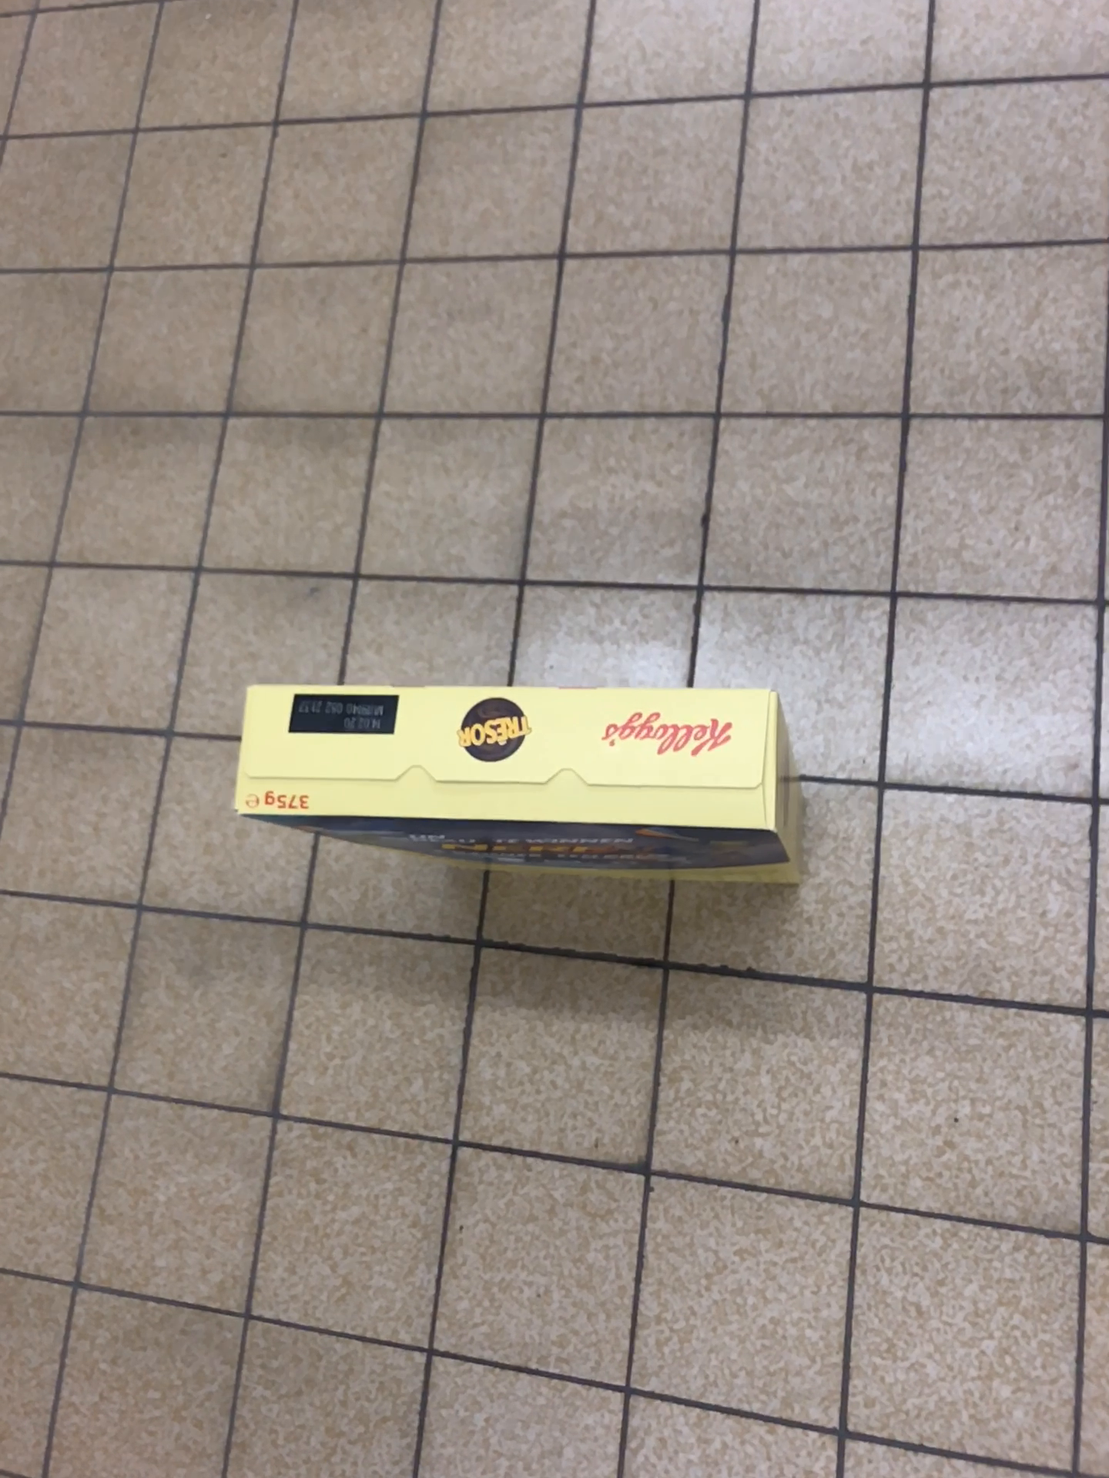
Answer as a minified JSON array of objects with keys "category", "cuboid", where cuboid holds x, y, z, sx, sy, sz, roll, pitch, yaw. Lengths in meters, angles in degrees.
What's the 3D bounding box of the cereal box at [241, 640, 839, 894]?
[{"category":"cereal box","cuboid":[0.018,0.021,0.520,0.200,0.240,0.060,1,78,13]}]
